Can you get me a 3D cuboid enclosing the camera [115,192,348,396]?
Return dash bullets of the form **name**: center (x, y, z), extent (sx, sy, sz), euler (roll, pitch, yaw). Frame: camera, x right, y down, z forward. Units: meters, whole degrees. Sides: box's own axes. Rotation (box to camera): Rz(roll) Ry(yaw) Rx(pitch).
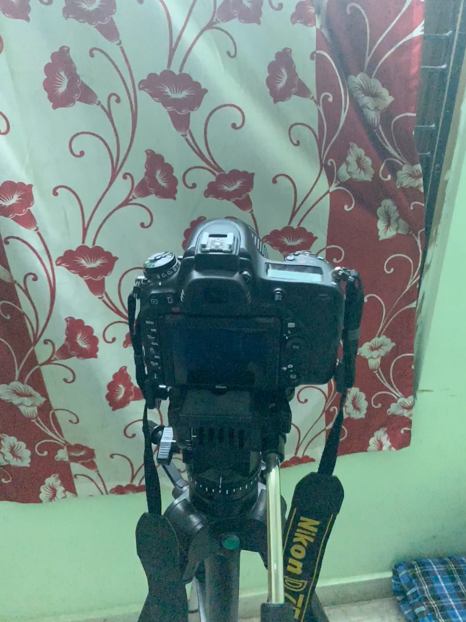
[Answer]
- **camera**: center (0.001, -0.021, 0.368), extent (0.139, 0.112, 0.130), euler (1, 25, 2)
